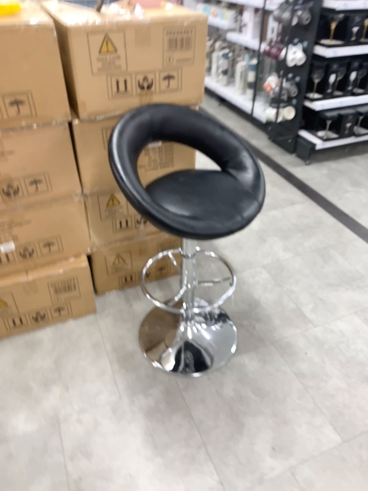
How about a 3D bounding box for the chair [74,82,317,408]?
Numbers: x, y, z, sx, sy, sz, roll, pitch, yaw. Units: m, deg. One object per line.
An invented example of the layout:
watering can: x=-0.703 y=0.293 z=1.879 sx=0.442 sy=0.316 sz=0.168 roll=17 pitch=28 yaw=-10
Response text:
chair: x=0.041 y=0.000 z=1.365 sx=0.484 sy=0.933 sz=0.512 roll=26 pitch=44 yaw=30
